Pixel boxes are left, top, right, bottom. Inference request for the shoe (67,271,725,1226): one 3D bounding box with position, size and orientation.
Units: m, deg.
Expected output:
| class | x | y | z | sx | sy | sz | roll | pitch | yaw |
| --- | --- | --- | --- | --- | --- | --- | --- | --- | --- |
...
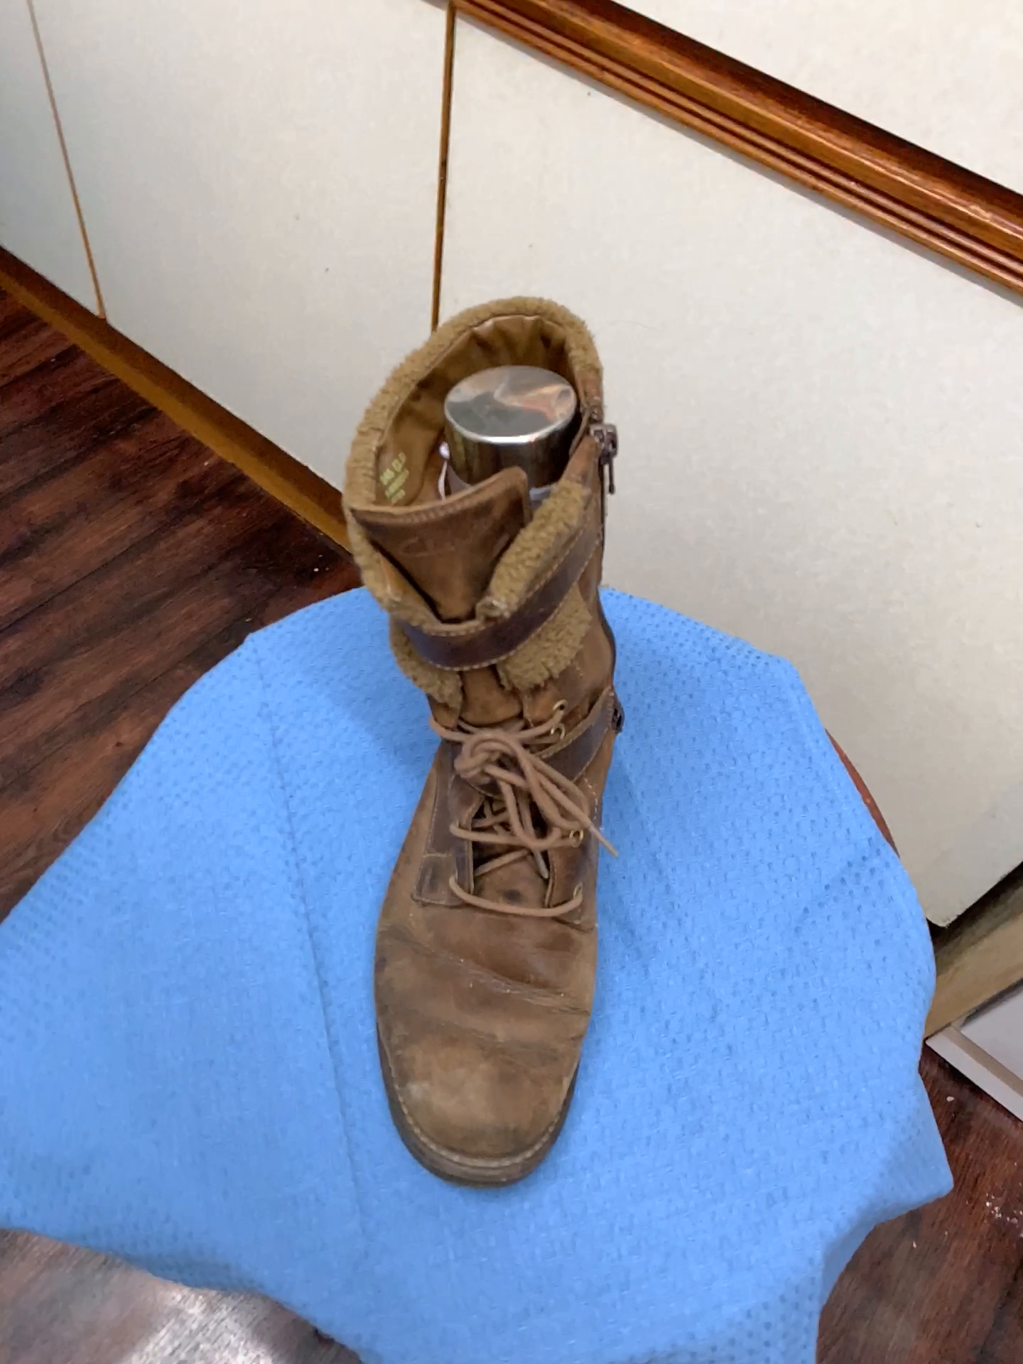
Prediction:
| class | x | y | z | sx | sy | sz | roll | pitch | yaw |
| --- | --- | --- | --- | --- | --- | --- | --- | --- | --- |
| shoe | -0.009 | 0.029 | 0.384 | 0.120 | 0.228 | 0.252 | 9 | 54 | 8 |
